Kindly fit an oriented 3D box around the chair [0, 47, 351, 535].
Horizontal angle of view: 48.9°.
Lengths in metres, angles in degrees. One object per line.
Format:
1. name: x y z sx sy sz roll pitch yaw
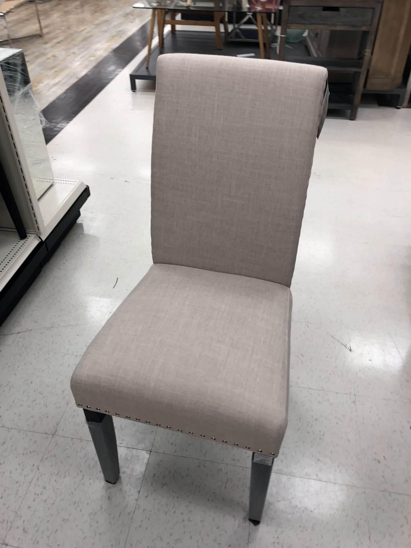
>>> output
1. chair: -0.006 0.077 1.110 0.487 1.006 0.558 10 41 12
